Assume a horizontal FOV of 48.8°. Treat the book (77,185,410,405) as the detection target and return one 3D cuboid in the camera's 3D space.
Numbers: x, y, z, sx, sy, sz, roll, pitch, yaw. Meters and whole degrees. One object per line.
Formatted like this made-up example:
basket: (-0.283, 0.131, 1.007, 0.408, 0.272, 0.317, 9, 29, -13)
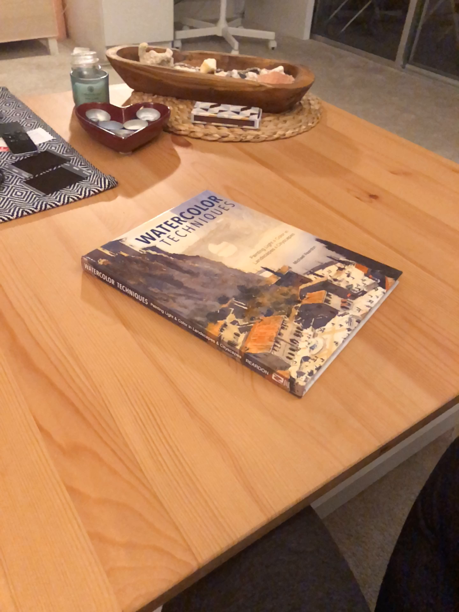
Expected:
book: (0.018, -0.038, 0.536, 0.279, 0.020, 0.214, 28, 45, 25)
